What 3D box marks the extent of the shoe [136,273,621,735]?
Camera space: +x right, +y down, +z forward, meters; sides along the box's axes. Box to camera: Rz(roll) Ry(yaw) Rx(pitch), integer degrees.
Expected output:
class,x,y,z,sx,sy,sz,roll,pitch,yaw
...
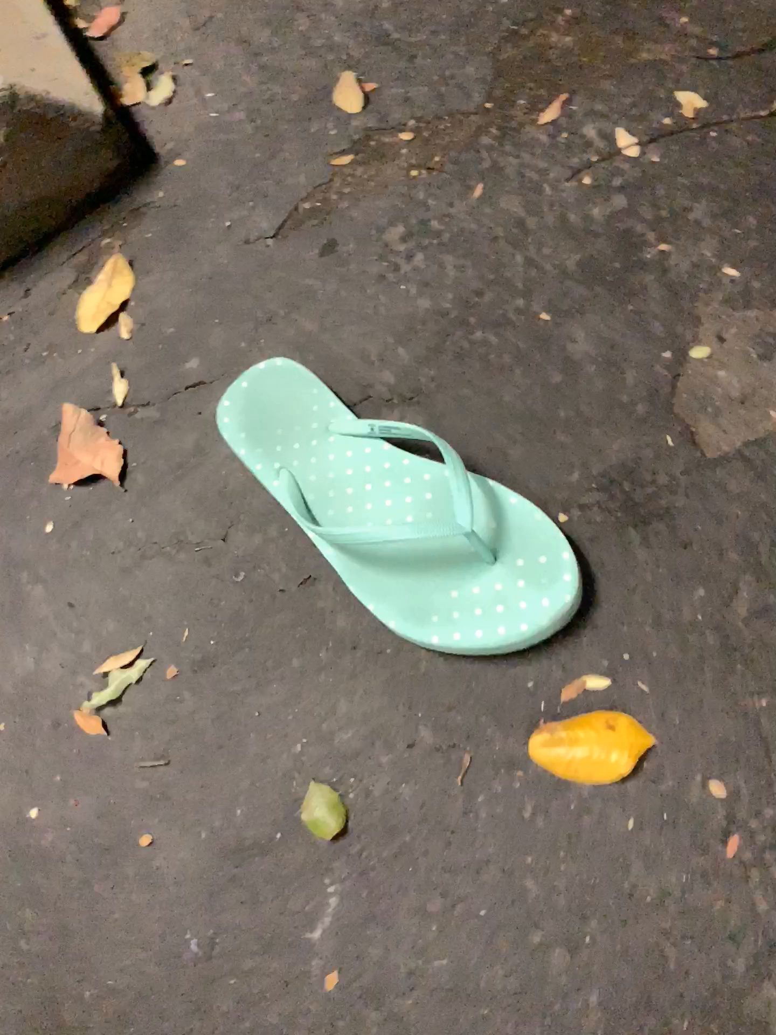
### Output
class,x,y,z,sx,sy,sz,roll,pitch,yaw
shoe,-0.016,-0.021,0.500,0.120,0.050,0.280,-44,62,-7
